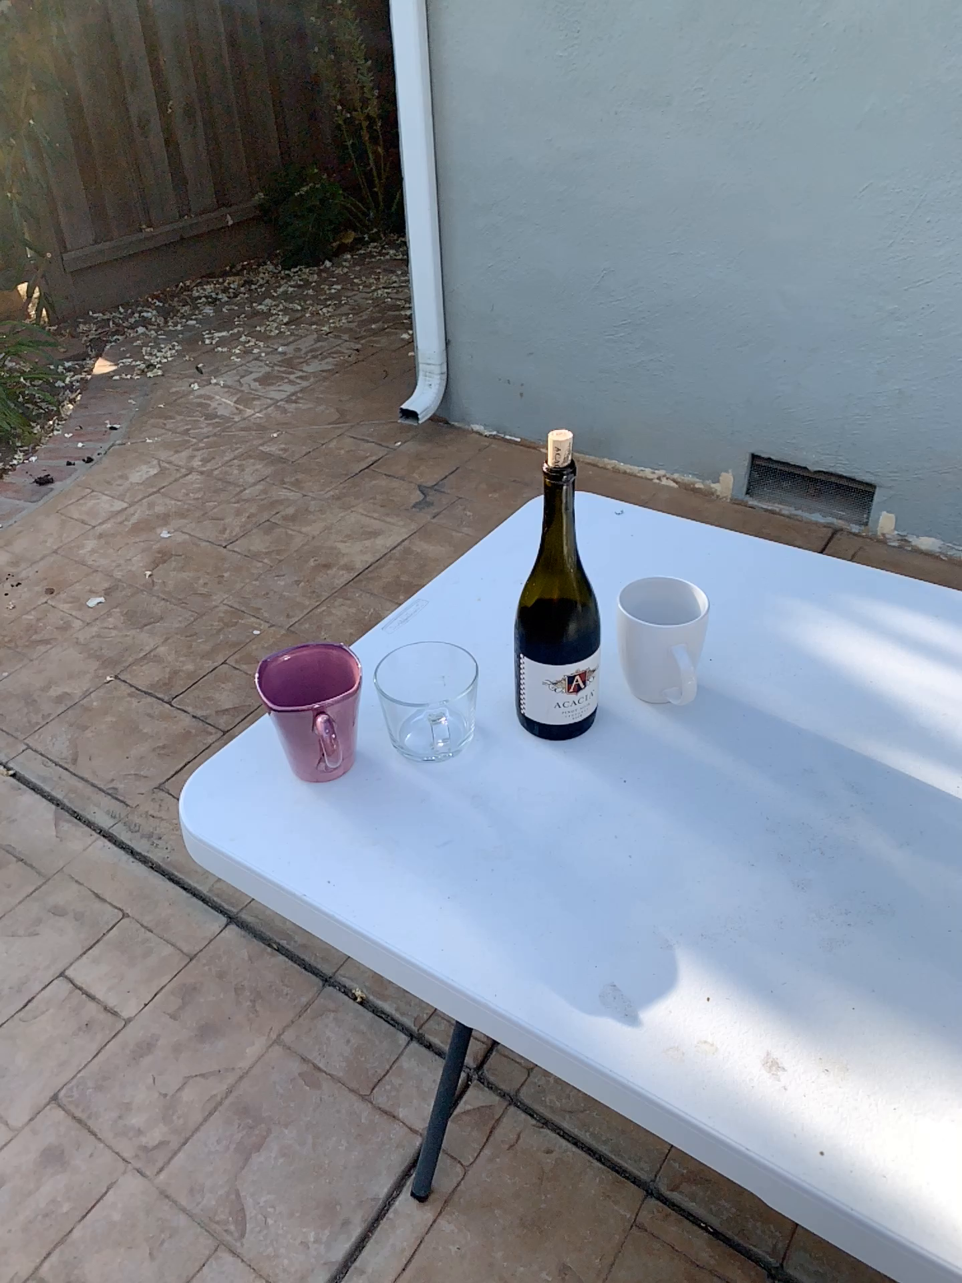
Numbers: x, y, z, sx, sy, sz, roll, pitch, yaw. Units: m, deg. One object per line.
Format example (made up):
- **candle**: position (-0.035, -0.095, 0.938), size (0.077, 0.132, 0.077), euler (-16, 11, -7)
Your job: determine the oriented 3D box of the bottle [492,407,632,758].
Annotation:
- **bottle**: position (0.071, -0.047, 0.914), size (0.080, 0.308, 0.091), euler (-21, 39, -24)
